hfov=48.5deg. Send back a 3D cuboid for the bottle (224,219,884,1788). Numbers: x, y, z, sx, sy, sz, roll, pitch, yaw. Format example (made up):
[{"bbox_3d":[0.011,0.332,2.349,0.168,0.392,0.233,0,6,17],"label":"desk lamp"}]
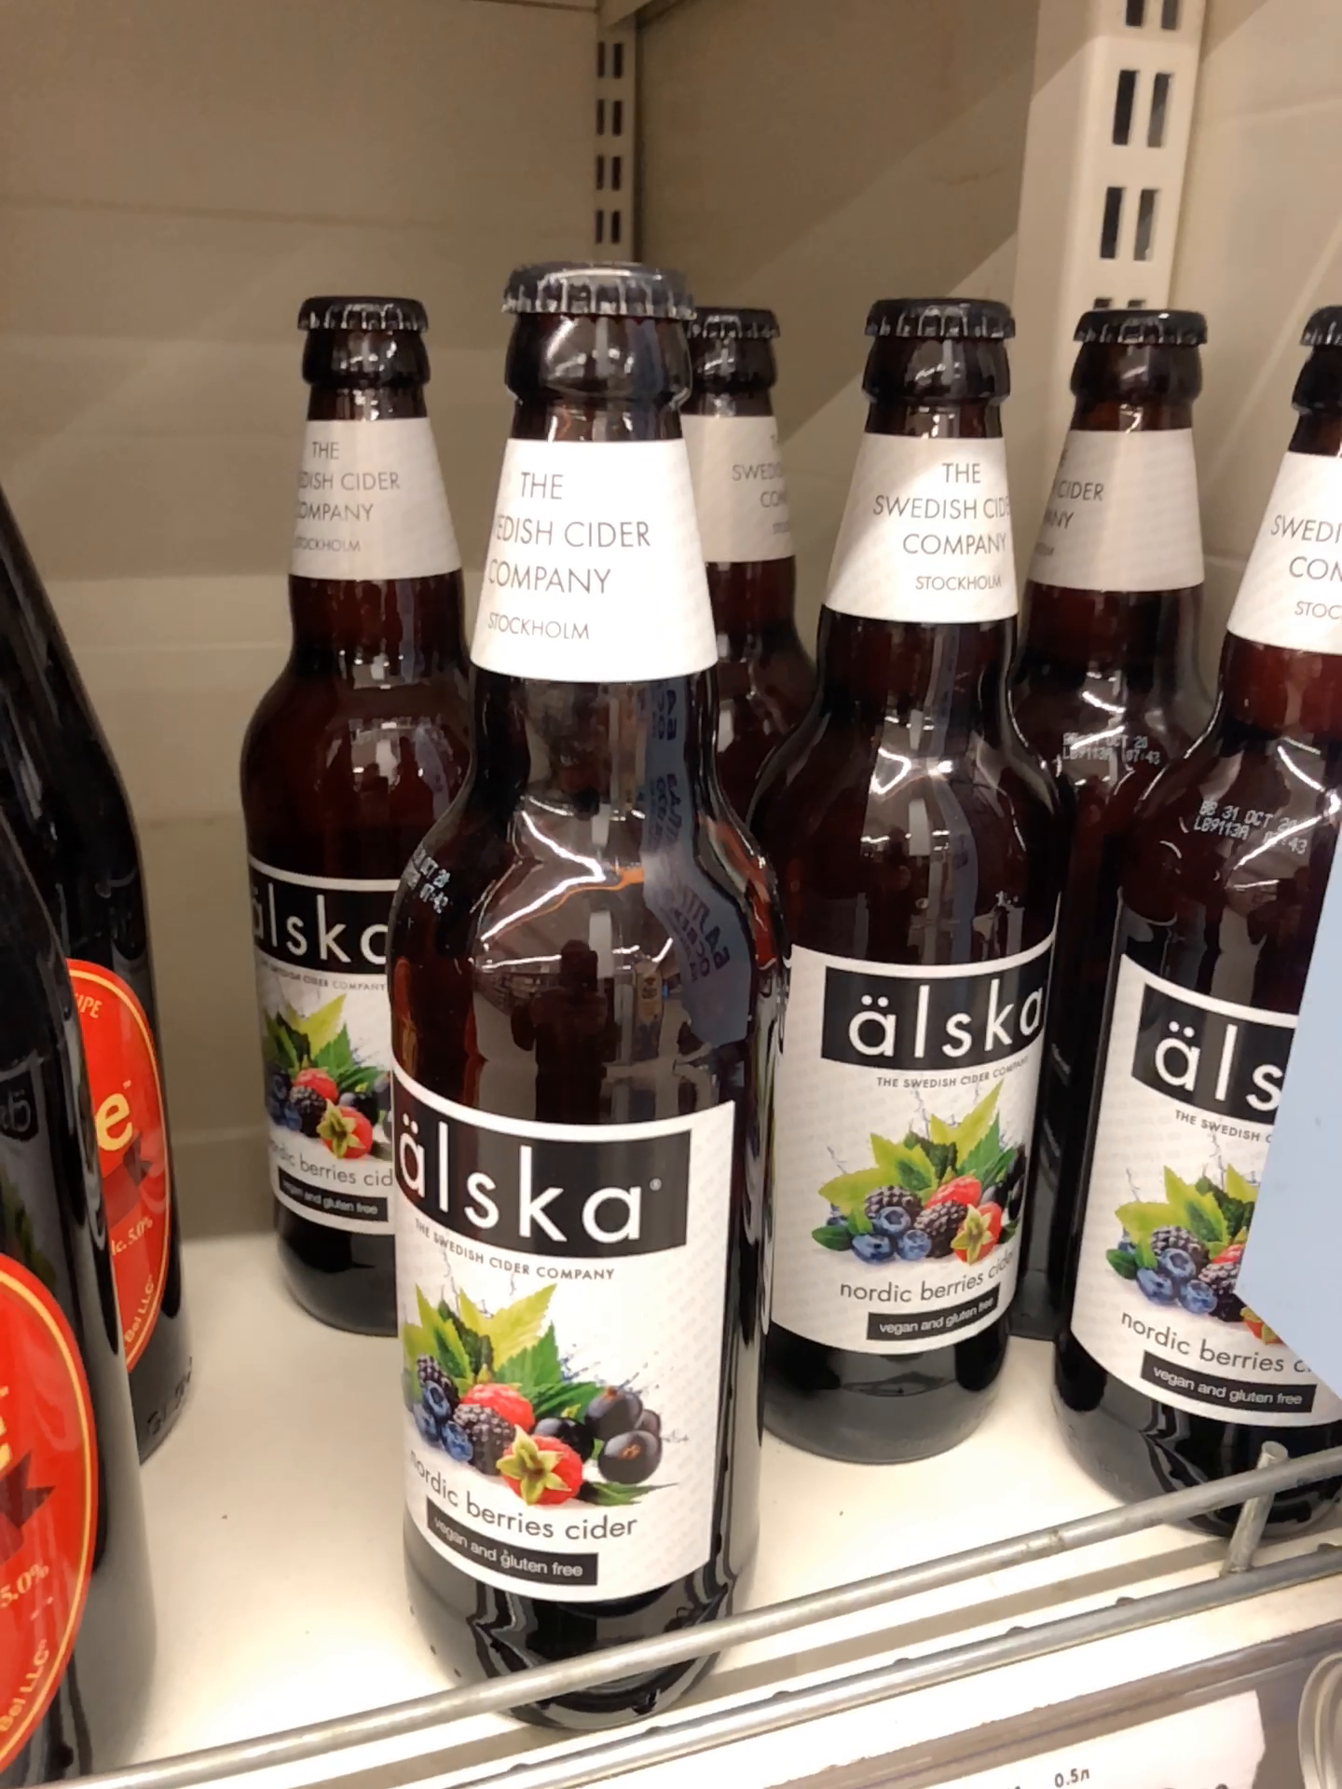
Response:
[{"bbox_3d":[-0.014,0.020,0.239,0.070,0.229,0.063,8,20,19],"label":"bottle"}]

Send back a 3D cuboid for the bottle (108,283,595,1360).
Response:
[{"bbox_3d":[-0.067,-0.018,0.359,0.075,0.236,0.077,1,19,0],"label":"bottle"}]

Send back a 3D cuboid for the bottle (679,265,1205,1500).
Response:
[{"bbox_3d":[0.049,0.000,0.321,0.070,0.244,0.063,-8,21,-25],"label":"bottle"}]
